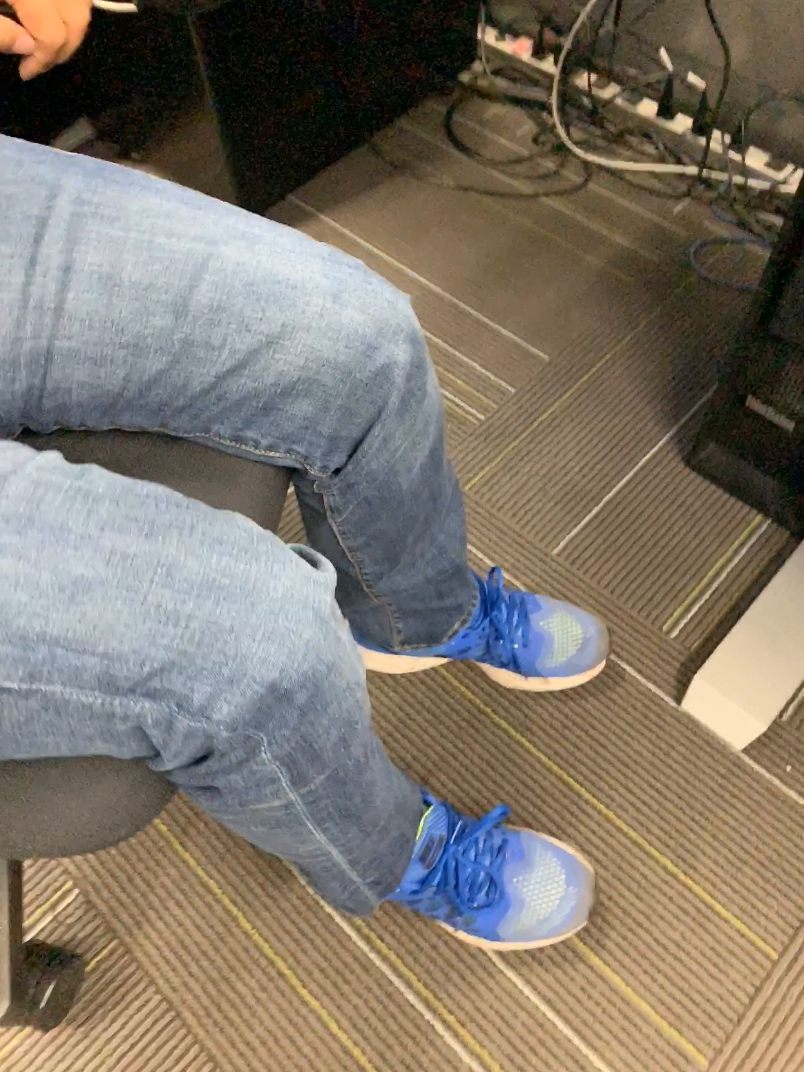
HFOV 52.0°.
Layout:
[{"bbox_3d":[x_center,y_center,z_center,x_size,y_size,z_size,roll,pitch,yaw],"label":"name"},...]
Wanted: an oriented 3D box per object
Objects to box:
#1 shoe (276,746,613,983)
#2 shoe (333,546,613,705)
[{"bbox_3d":[0.040,0.305,0.771,0.279,0.083,0.117,14,60,11],"label":"shoe"},{"bbox_3d":[0.078,0.096,0.888,0.278,0.083,0.117,6,59,6],"label":"shoe"}]
